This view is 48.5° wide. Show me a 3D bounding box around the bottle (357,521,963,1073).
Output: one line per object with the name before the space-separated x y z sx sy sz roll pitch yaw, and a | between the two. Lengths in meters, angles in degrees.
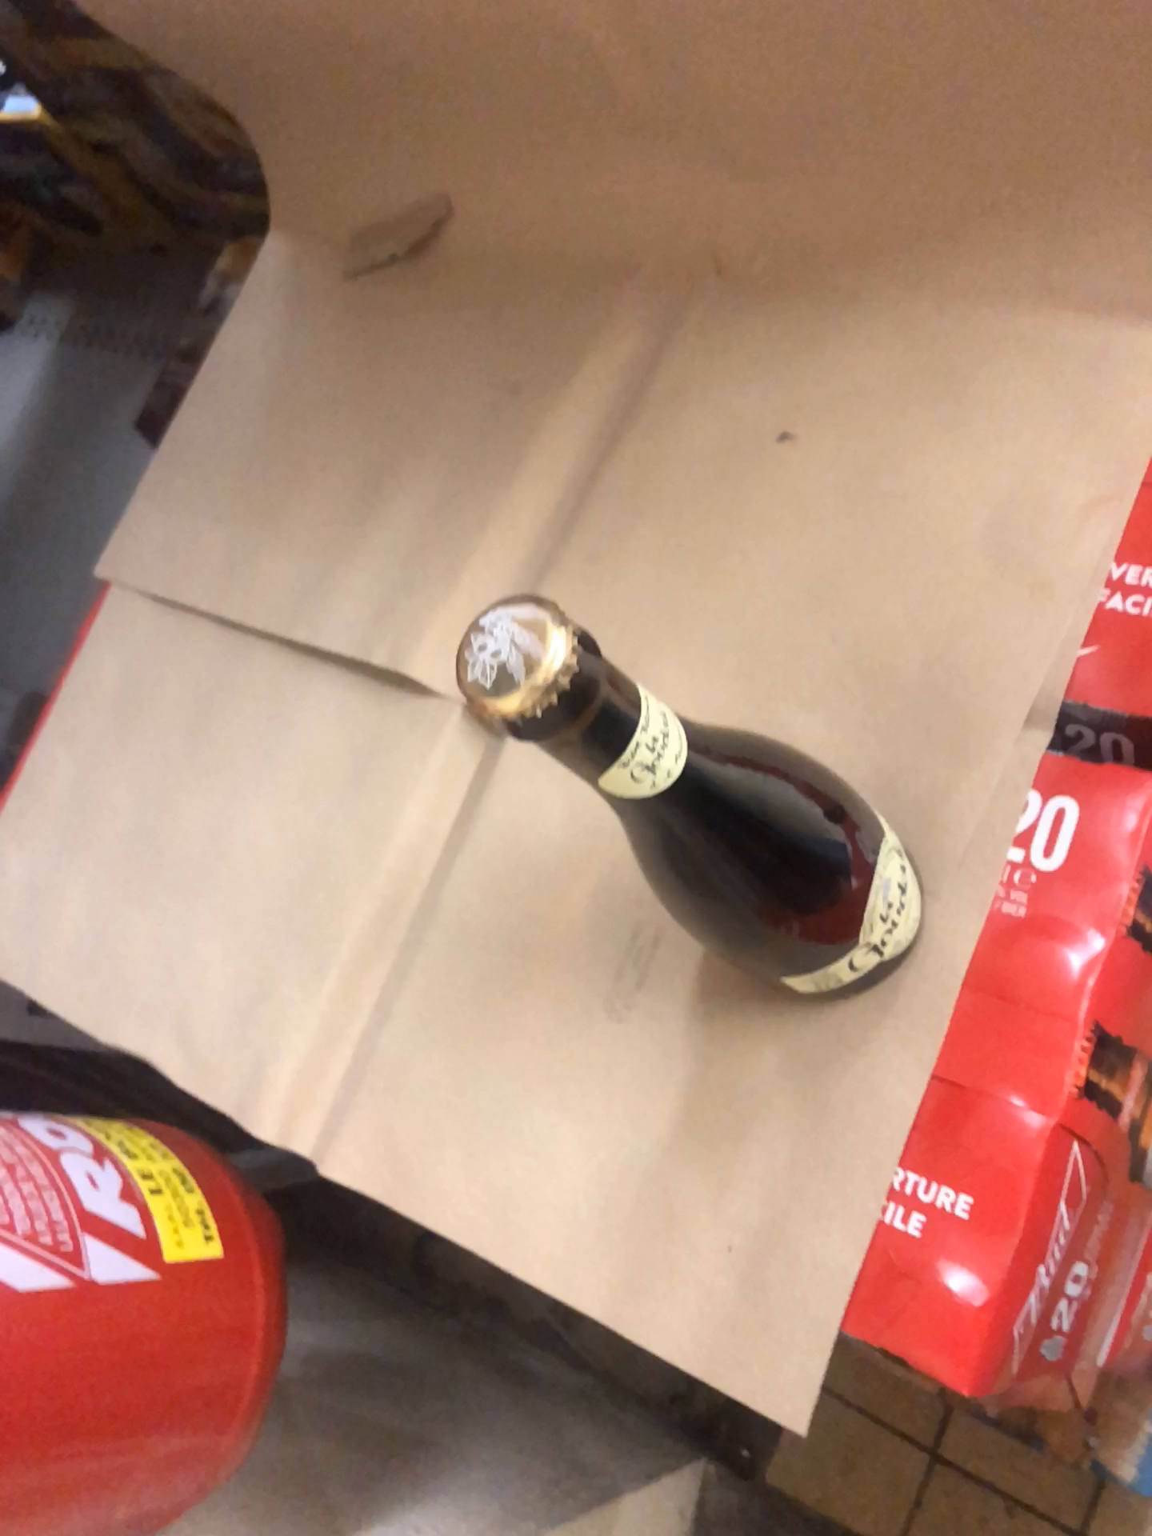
bottle | 0.043 0.022 0.341 0.070 0.219 0.080 6 75 28
